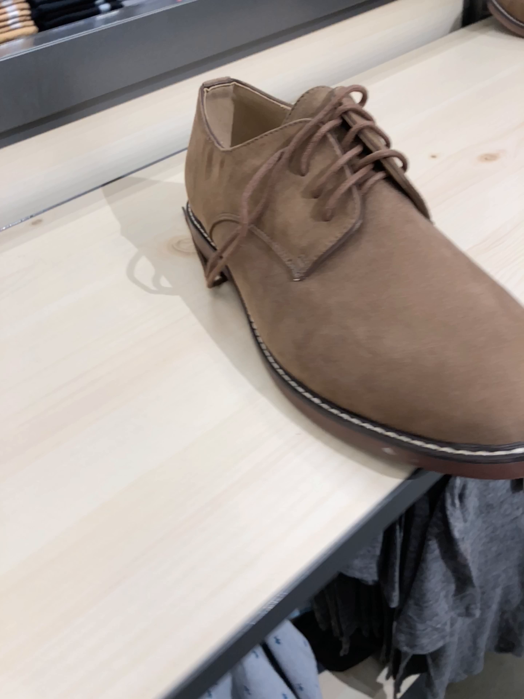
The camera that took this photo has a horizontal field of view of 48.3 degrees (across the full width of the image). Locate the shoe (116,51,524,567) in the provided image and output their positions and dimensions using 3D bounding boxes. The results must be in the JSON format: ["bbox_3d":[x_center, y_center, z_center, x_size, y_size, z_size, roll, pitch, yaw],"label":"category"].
[{"bbox_3d":[0.029,-0.060,0.322,0.120,0.110,0.301,-22,43,-14],"label":"shoe"}]
